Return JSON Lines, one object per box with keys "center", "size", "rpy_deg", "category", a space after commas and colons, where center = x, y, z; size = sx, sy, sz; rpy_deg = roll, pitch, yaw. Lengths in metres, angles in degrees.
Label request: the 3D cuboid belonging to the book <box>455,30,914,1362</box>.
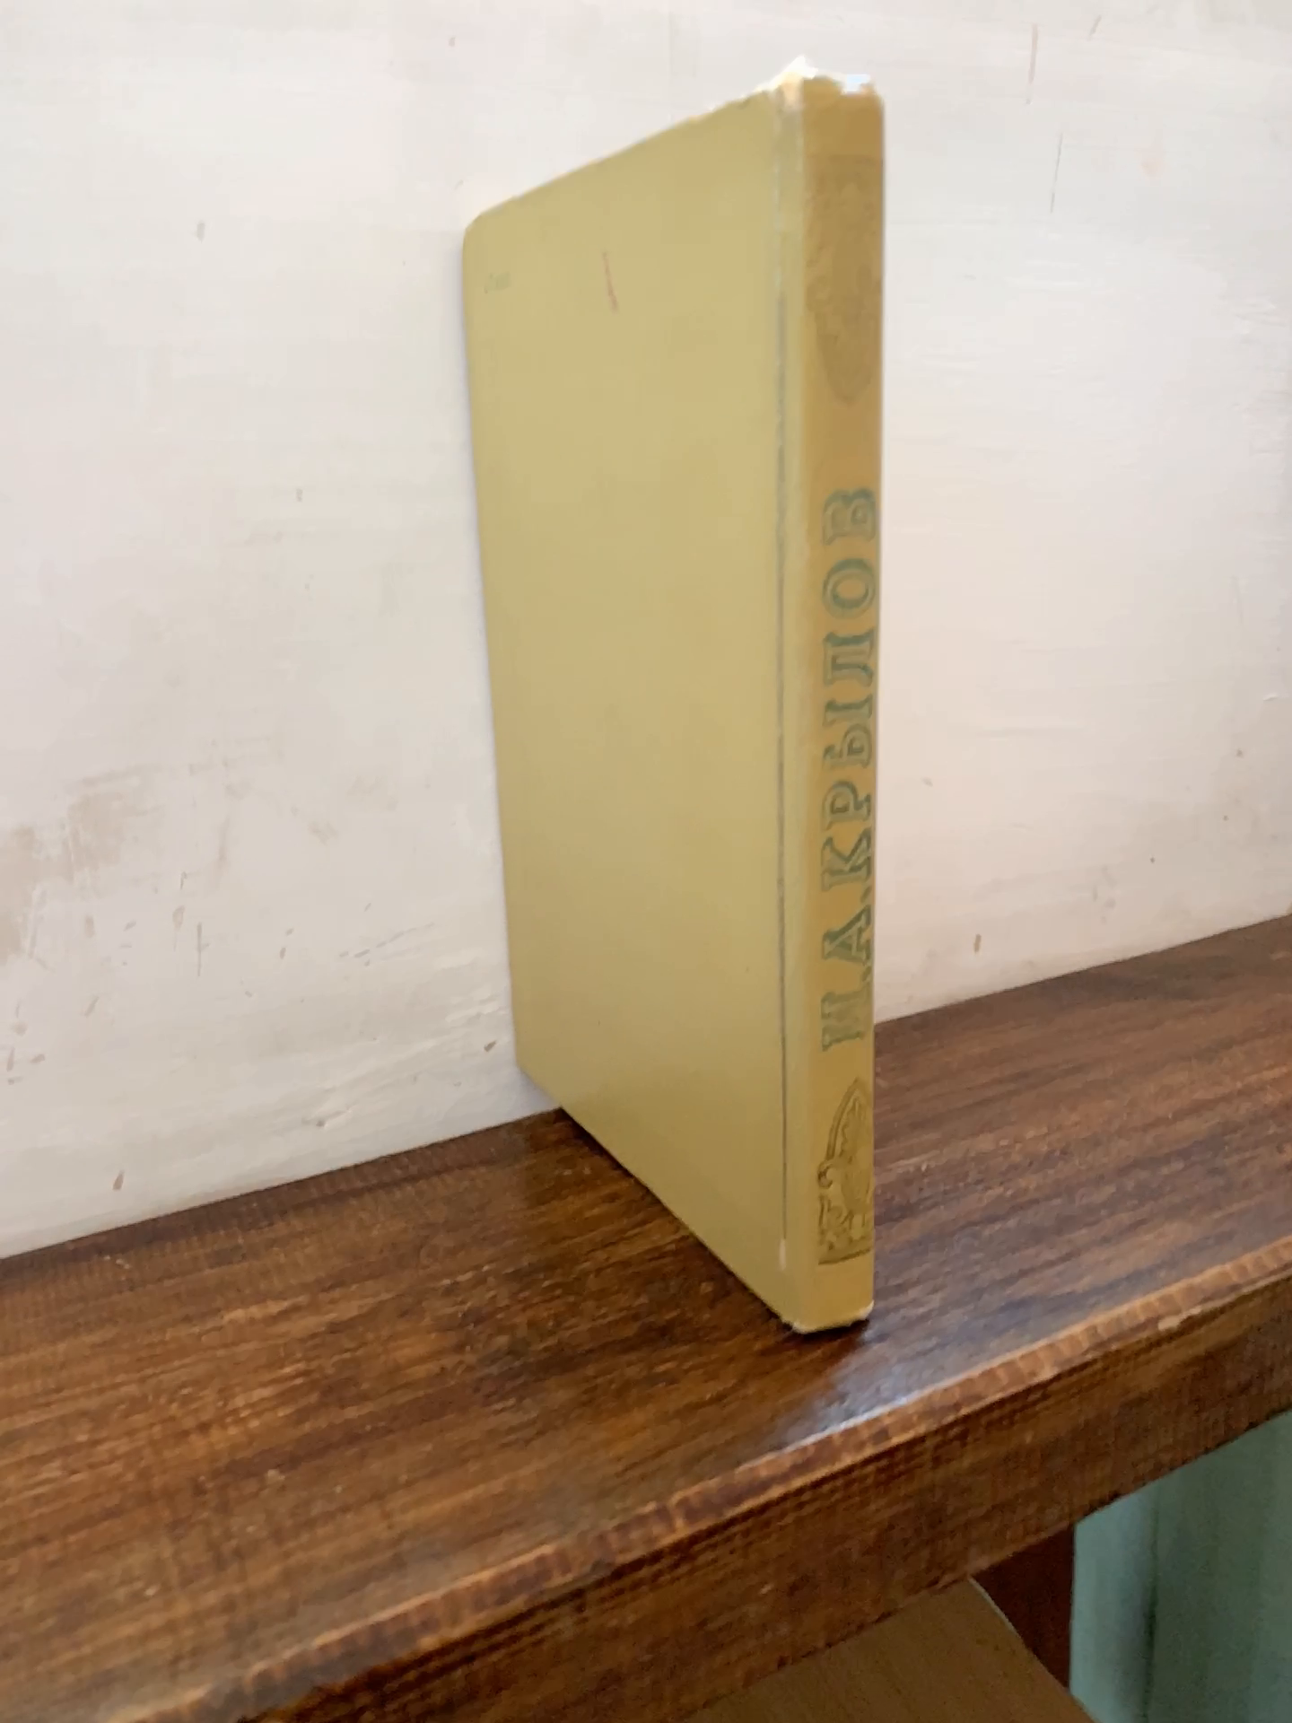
{"center": [0.002, -0.029, 0.266], "size": [0.020, 0.205, 0.132], "rpy_deg": [-10, 17, -26], "category": "book"}
